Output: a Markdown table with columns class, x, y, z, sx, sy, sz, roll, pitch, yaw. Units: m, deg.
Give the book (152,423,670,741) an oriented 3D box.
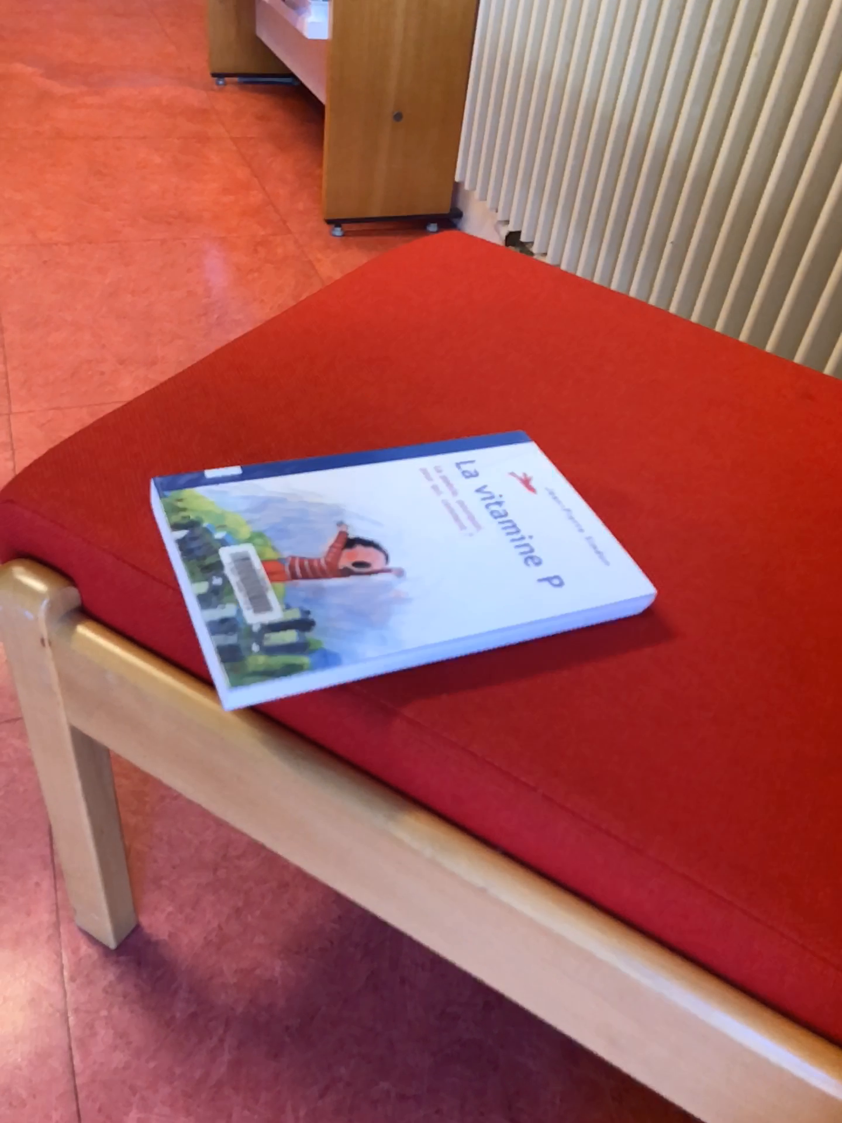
| class | x | y | z | sx | sy | sz | roll | pitch | yaw |
| --- | --- | --- | --- | --- | --- | --- | --- | --- | --- |
| book | -0.009 | -0.003 | 0.456 | 0.216 | 0.027 | 0.148 | -11 | 45 | -21 |
